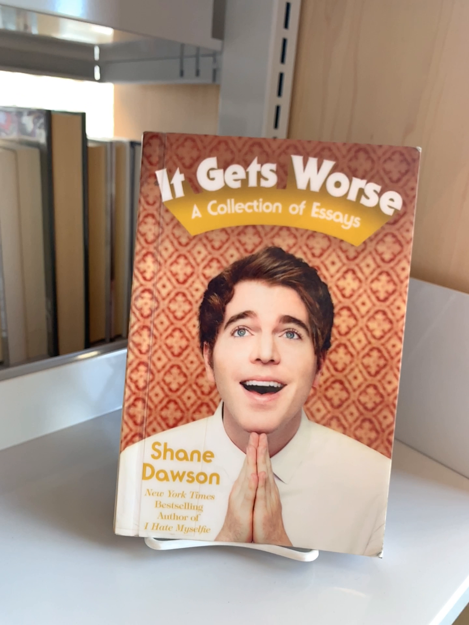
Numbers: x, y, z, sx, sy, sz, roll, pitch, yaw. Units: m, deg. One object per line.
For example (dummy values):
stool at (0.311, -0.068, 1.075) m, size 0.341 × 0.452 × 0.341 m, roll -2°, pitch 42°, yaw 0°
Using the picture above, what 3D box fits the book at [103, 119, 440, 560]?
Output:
book at (0.016, 0.016, 0.259) m, size 0.149 × 0.210 × 0.030 m, roll 5°, pitch 5°, yaw -1°
